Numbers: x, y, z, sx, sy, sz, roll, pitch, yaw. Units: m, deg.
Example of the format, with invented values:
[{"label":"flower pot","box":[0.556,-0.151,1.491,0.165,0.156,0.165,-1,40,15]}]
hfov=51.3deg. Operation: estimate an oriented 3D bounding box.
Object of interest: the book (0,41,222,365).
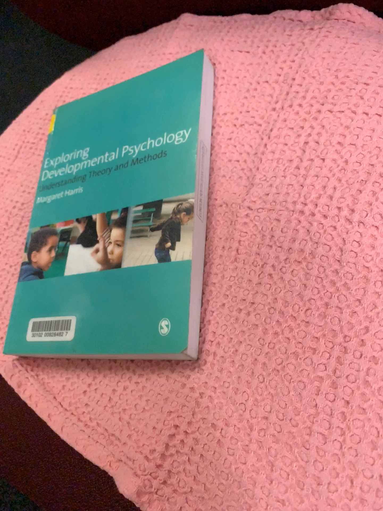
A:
[{"label":"book","box":[-0.066,-0.040,0.323,0.176,0.030,0.246,-8,65,28]}]
